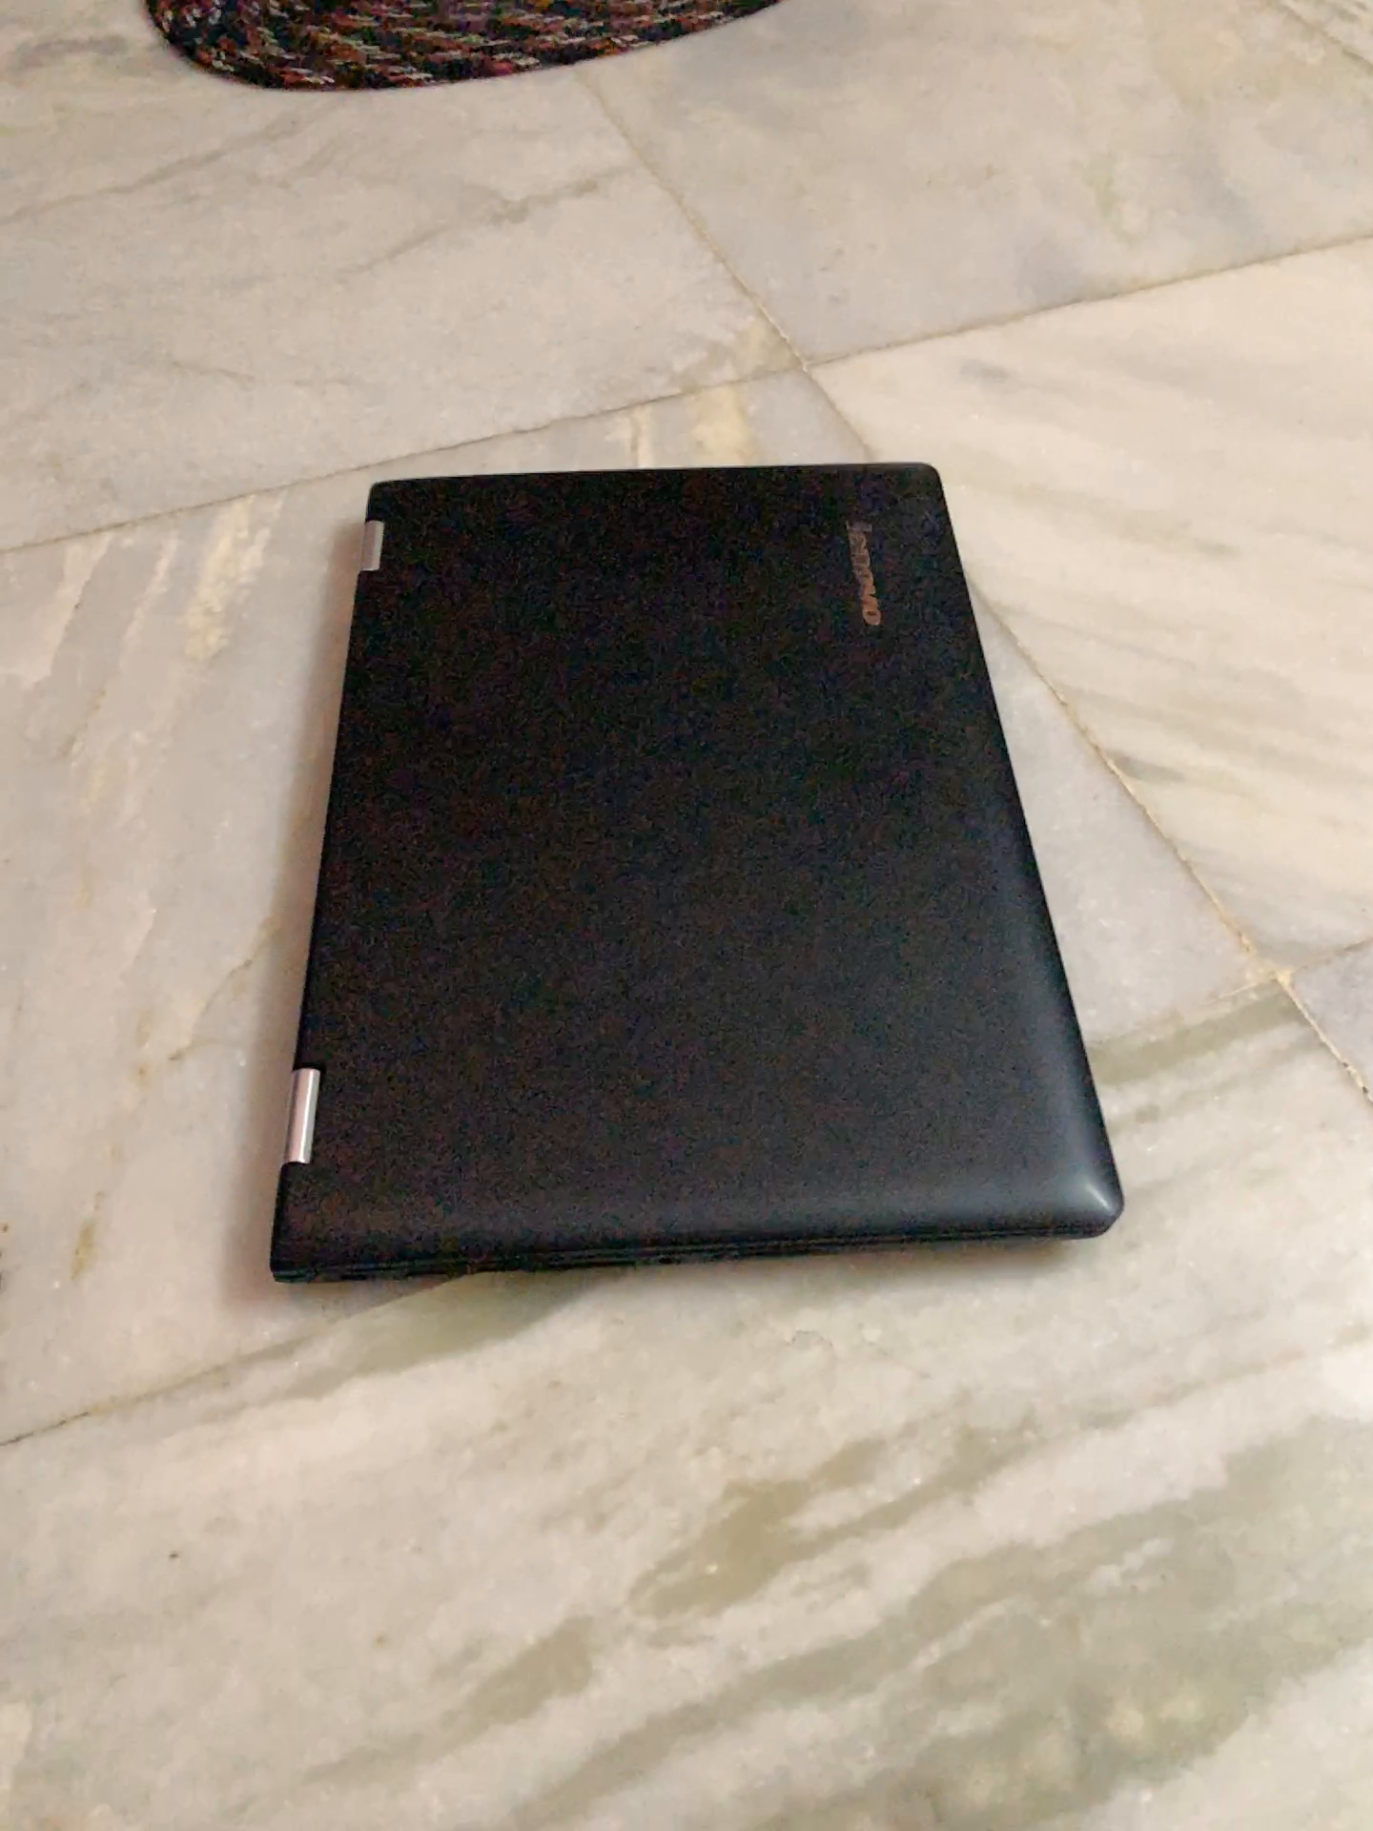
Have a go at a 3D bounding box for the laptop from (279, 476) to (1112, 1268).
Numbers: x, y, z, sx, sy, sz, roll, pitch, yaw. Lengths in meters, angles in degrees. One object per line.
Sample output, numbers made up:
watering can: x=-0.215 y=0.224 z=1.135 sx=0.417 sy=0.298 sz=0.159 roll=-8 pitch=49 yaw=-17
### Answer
laptop: x=-0.004 y=-0.043 z=0.472 sx=0.223 sy=0.001 sz=0.326 roll=-2 pitch=54 yaw=-2
